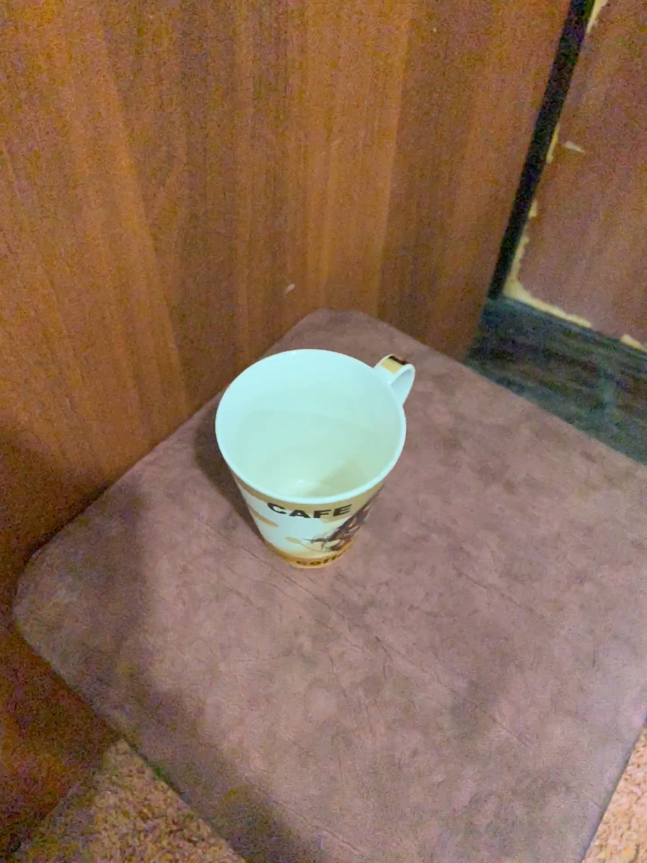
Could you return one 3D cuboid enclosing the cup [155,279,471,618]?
[{"bbox_3d":[-0.003,0.007,0.352,0.095,0.092,0.120,33,60,21],"label":"cup"}]
